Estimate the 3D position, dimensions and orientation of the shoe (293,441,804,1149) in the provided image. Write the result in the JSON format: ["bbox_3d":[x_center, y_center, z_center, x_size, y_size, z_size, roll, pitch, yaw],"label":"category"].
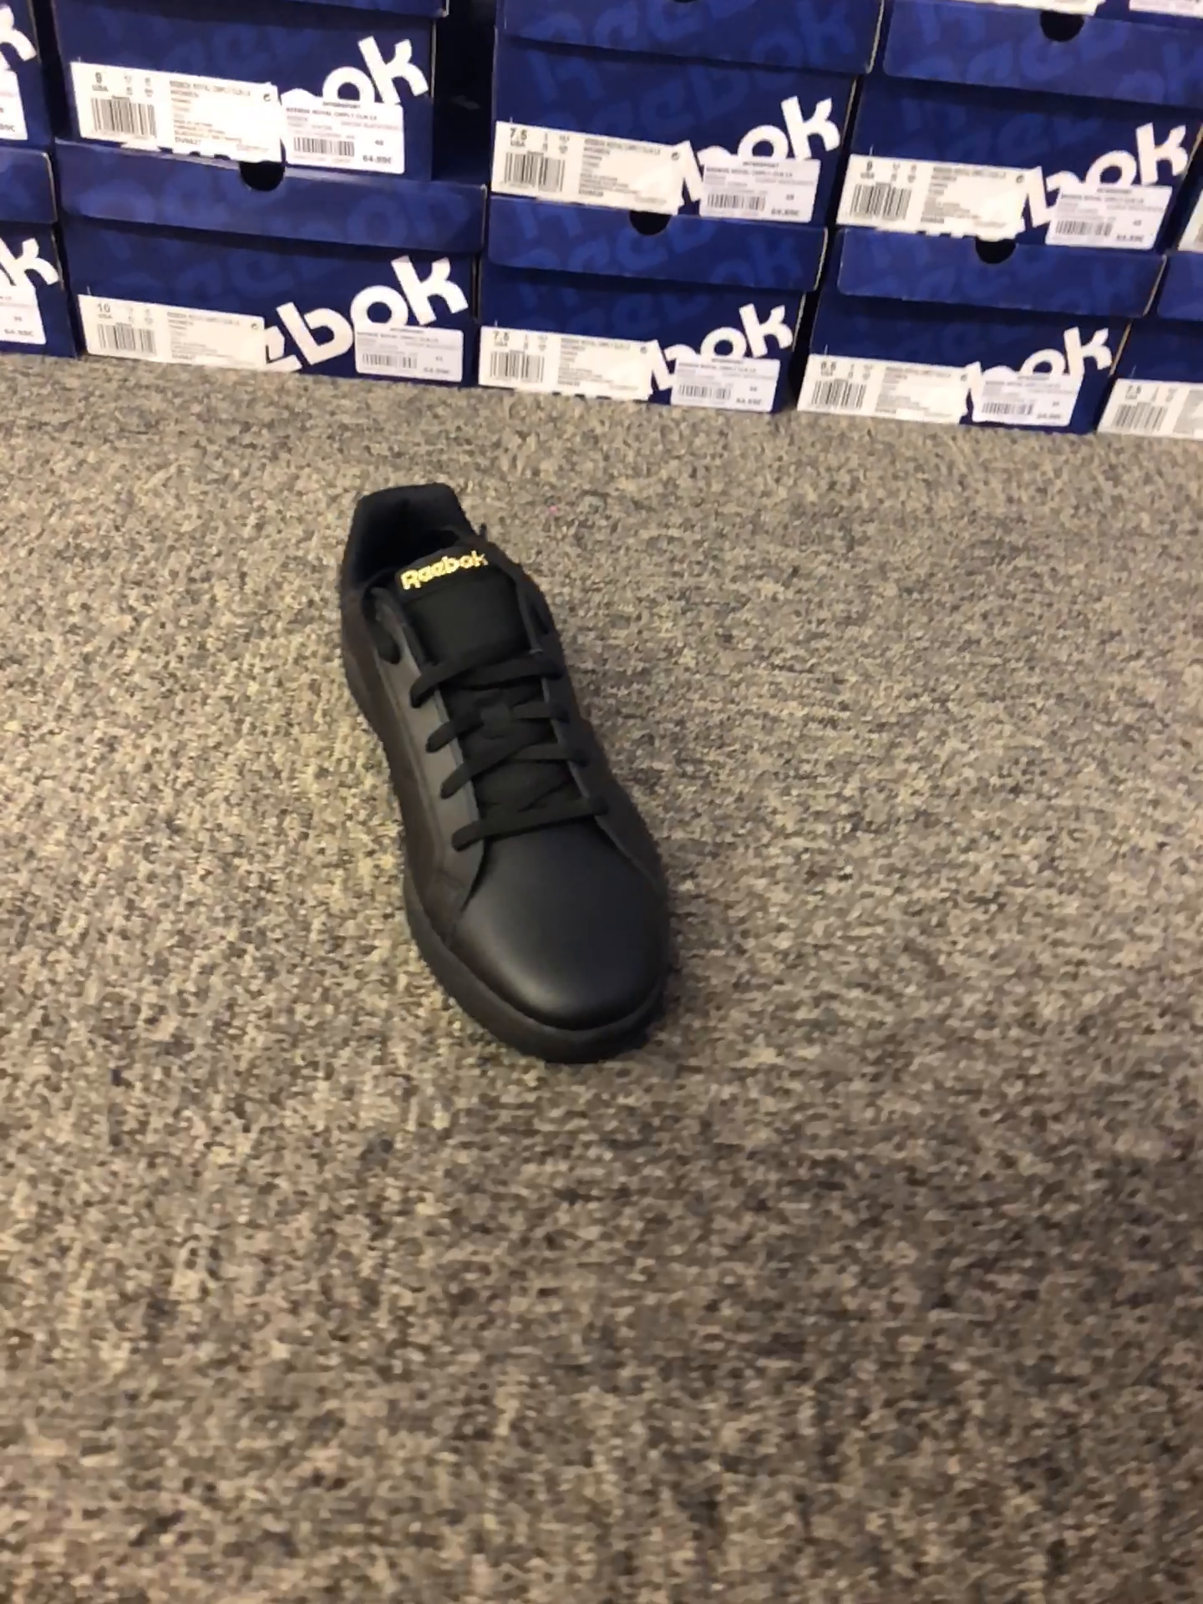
[{"bbox_3d":[-0.036,-0.021,0.485,0.098,0.089,0.261,-10,48,-19],"label":"shoe"}]
